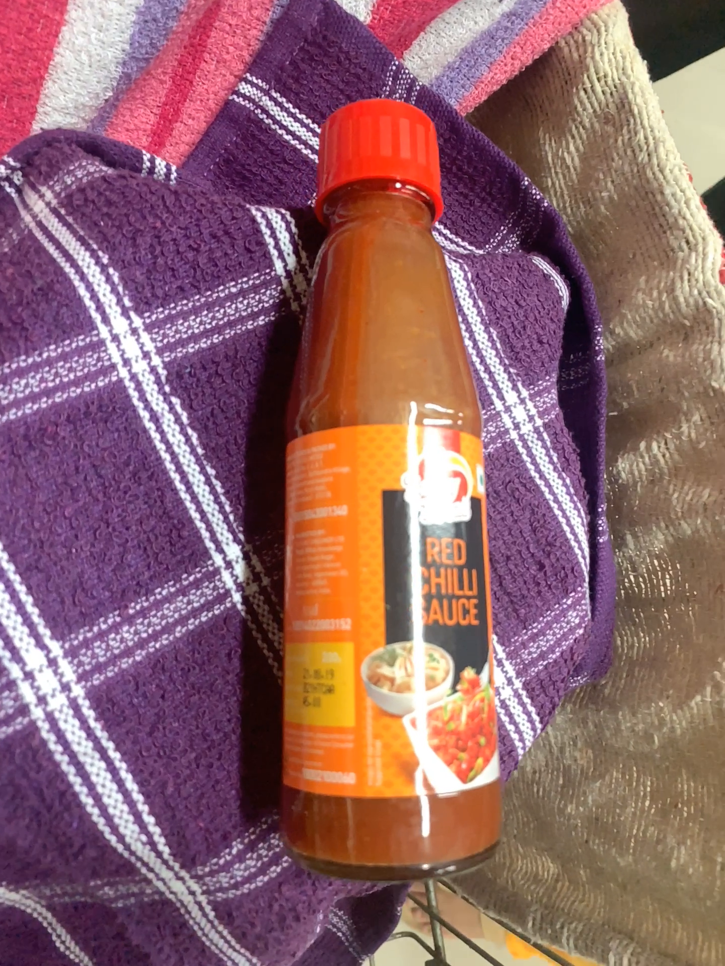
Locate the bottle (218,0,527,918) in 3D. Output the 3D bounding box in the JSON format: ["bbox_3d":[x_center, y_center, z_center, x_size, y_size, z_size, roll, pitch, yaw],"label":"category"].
[{"bbox_3d":[-0.001,-0.014,0.164,0.050,0.040,0.180,3,81,-25],"label":"bottle"}]
